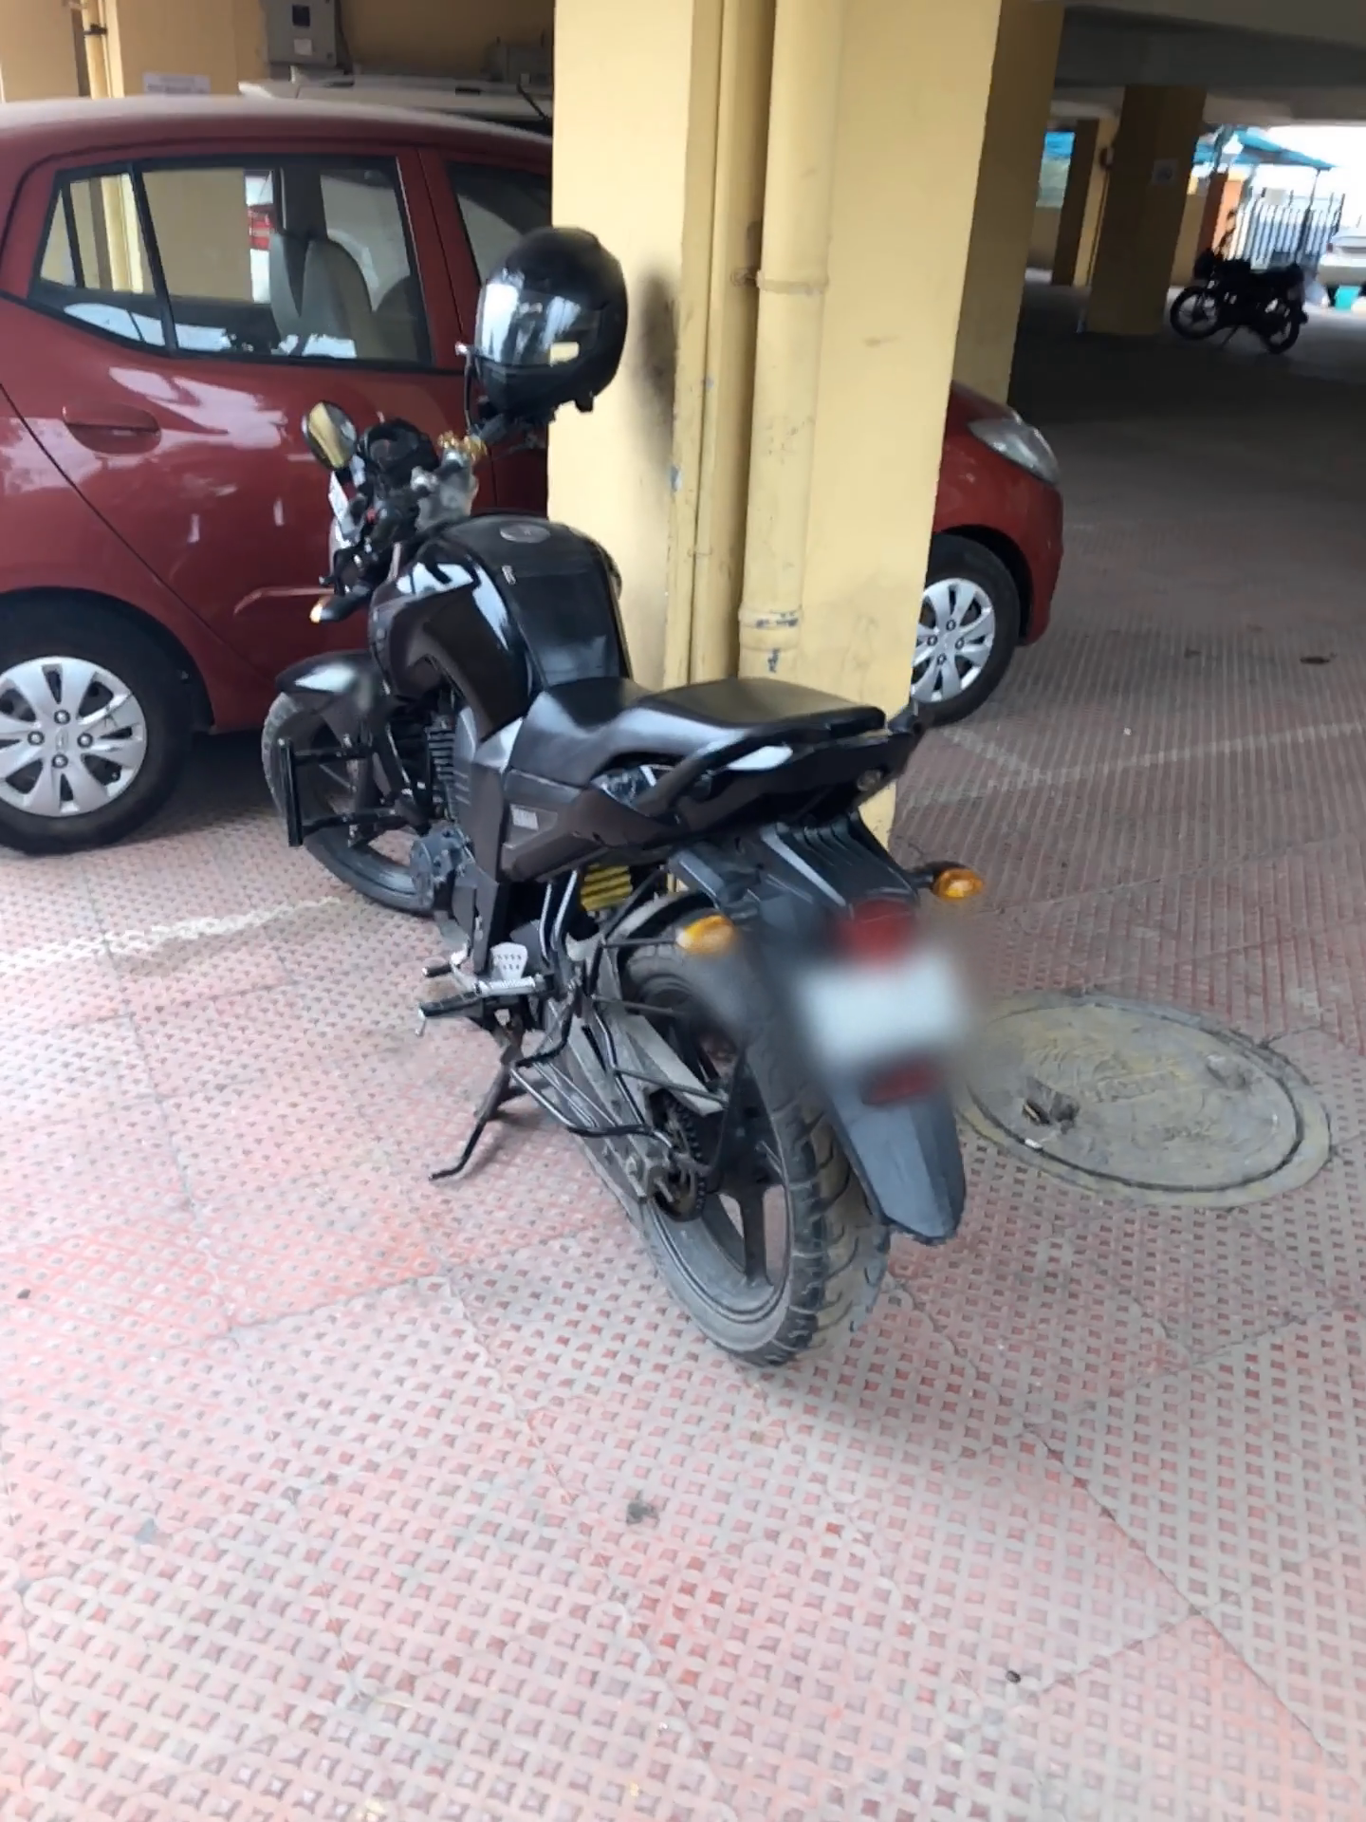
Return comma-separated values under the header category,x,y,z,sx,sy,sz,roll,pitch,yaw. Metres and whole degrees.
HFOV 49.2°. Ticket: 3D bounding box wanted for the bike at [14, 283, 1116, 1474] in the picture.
category,x,y,z,sx,sy,sz,roll,pitch,yaw
bike,-0.366,-0.258,2.280,0.611,1.052,1.805,-15,34,-33
